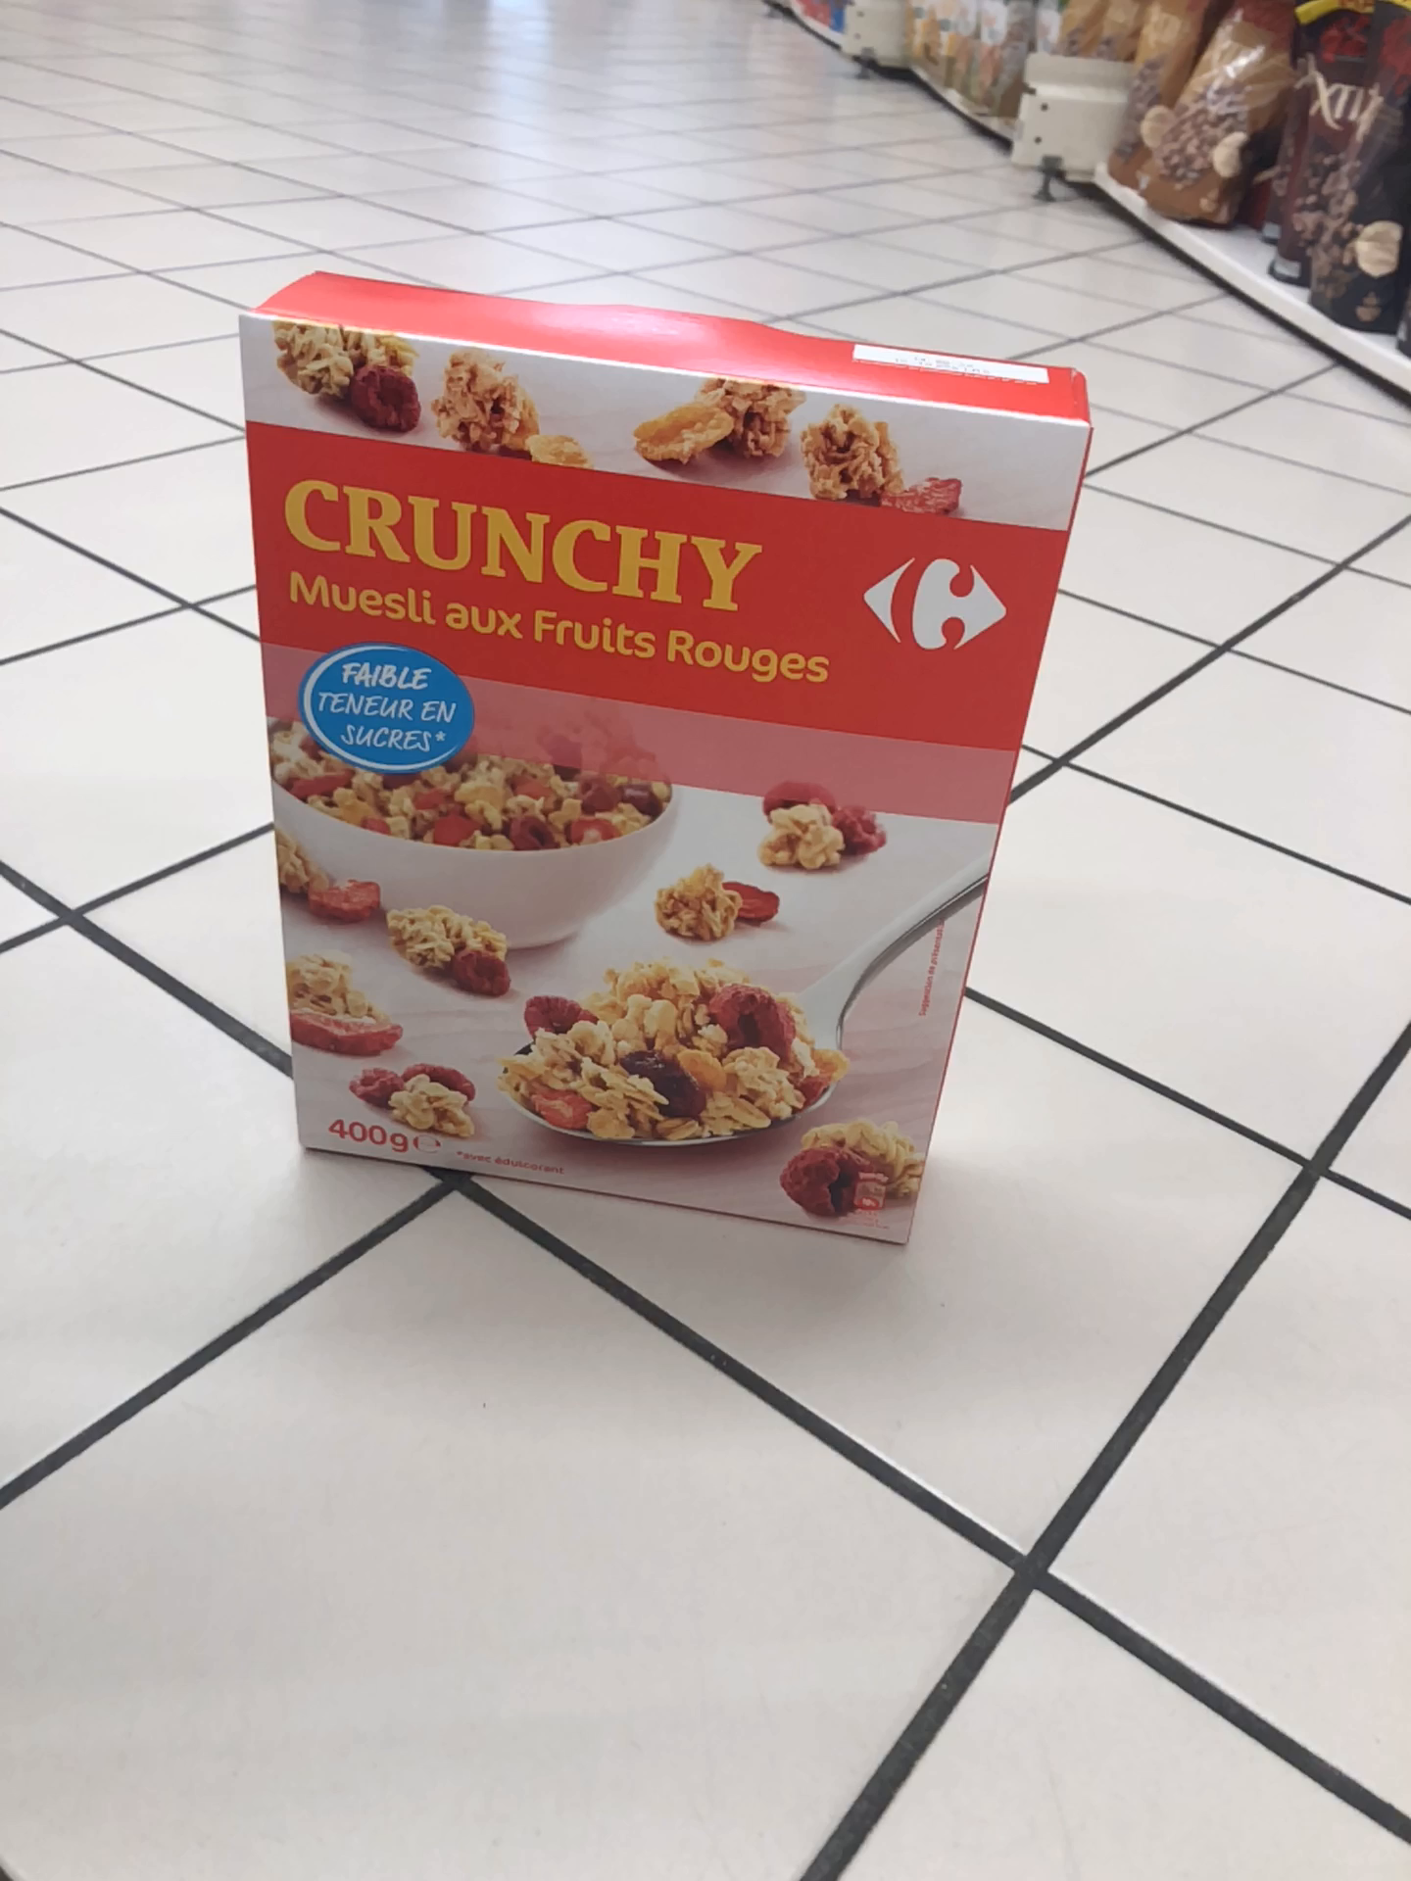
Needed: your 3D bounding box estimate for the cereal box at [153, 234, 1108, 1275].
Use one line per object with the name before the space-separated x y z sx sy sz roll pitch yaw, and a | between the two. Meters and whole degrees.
cereal box | -0.025 -0.037 0.414 0.200 0.248 0.060 9 34 3
